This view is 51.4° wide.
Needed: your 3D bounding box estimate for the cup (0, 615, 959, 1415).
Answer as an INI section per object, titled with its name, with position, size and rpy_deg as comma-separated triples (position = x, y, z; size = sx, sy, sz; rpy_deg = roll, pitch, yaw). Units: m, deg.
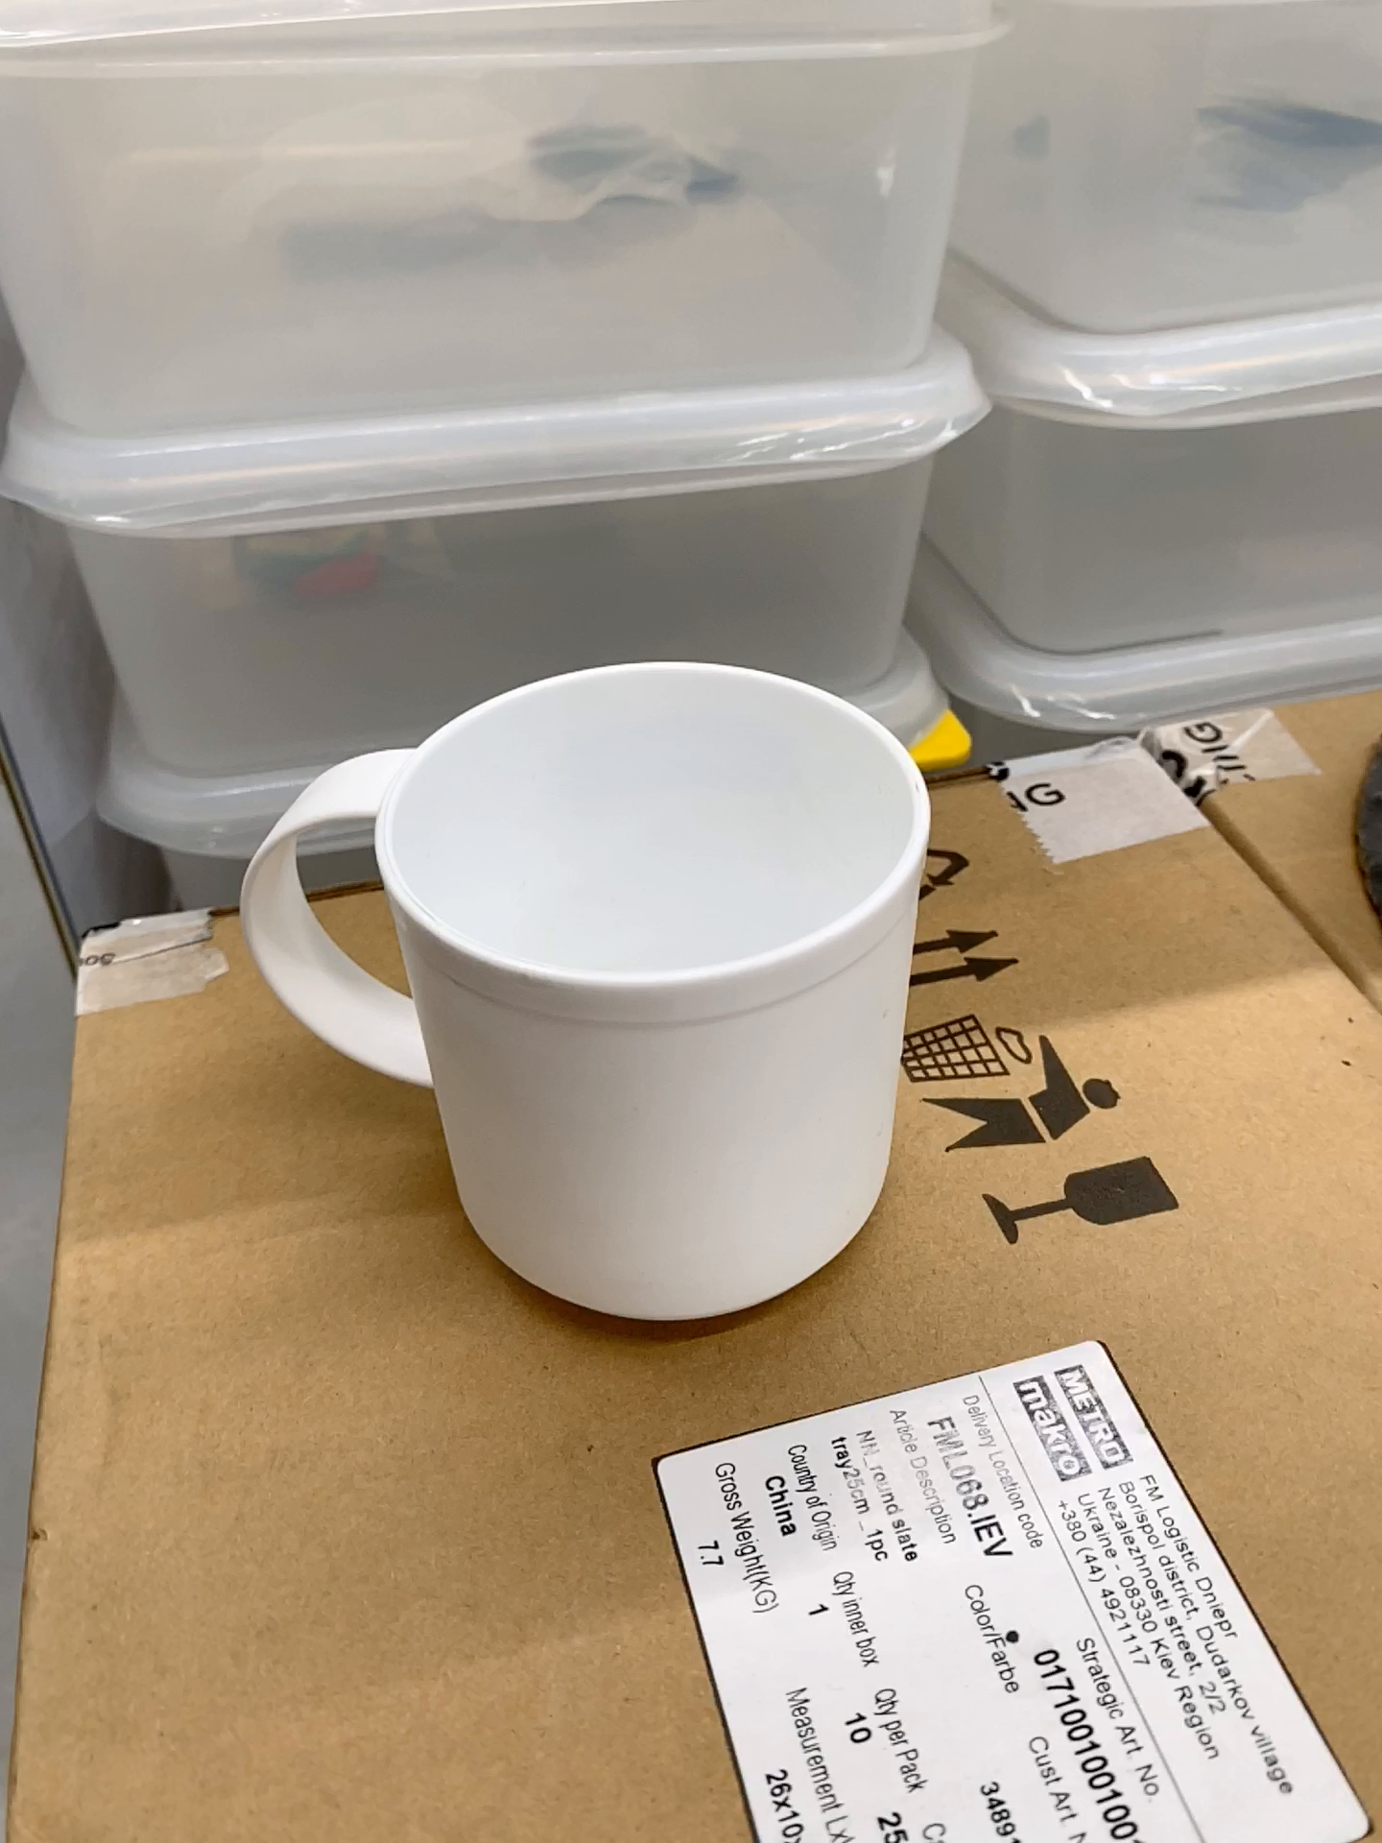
[cup]
position = -0.022, 0.010, 0.220
size = 0.113, 0.075, 0.080
rpy_deg = 6, 40, 10
